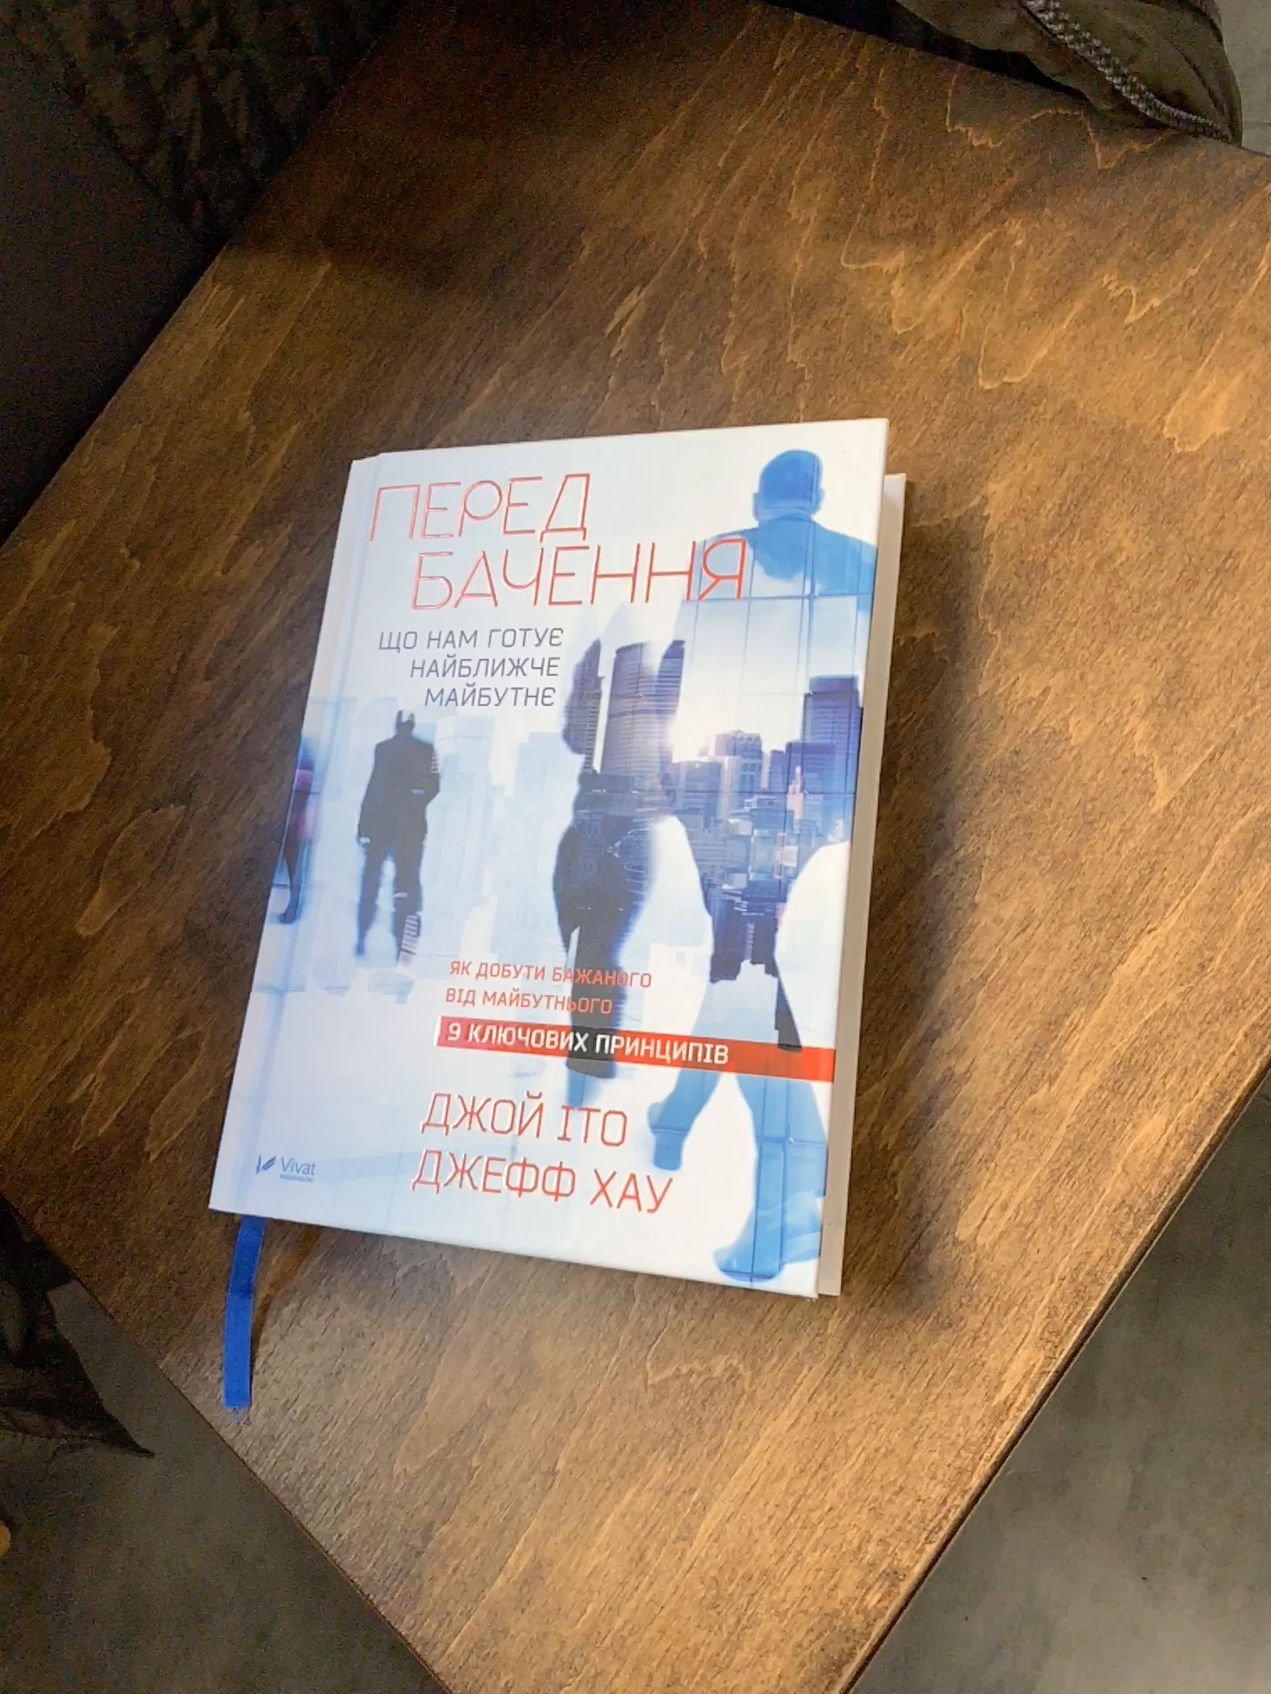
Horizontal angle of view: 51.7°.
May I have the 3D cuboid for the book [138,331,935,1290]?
[{"bbox_3d":[-0.017,-0.014,0.298,0.149,0.040,0.196,3,75,19],"label":"book"}]
